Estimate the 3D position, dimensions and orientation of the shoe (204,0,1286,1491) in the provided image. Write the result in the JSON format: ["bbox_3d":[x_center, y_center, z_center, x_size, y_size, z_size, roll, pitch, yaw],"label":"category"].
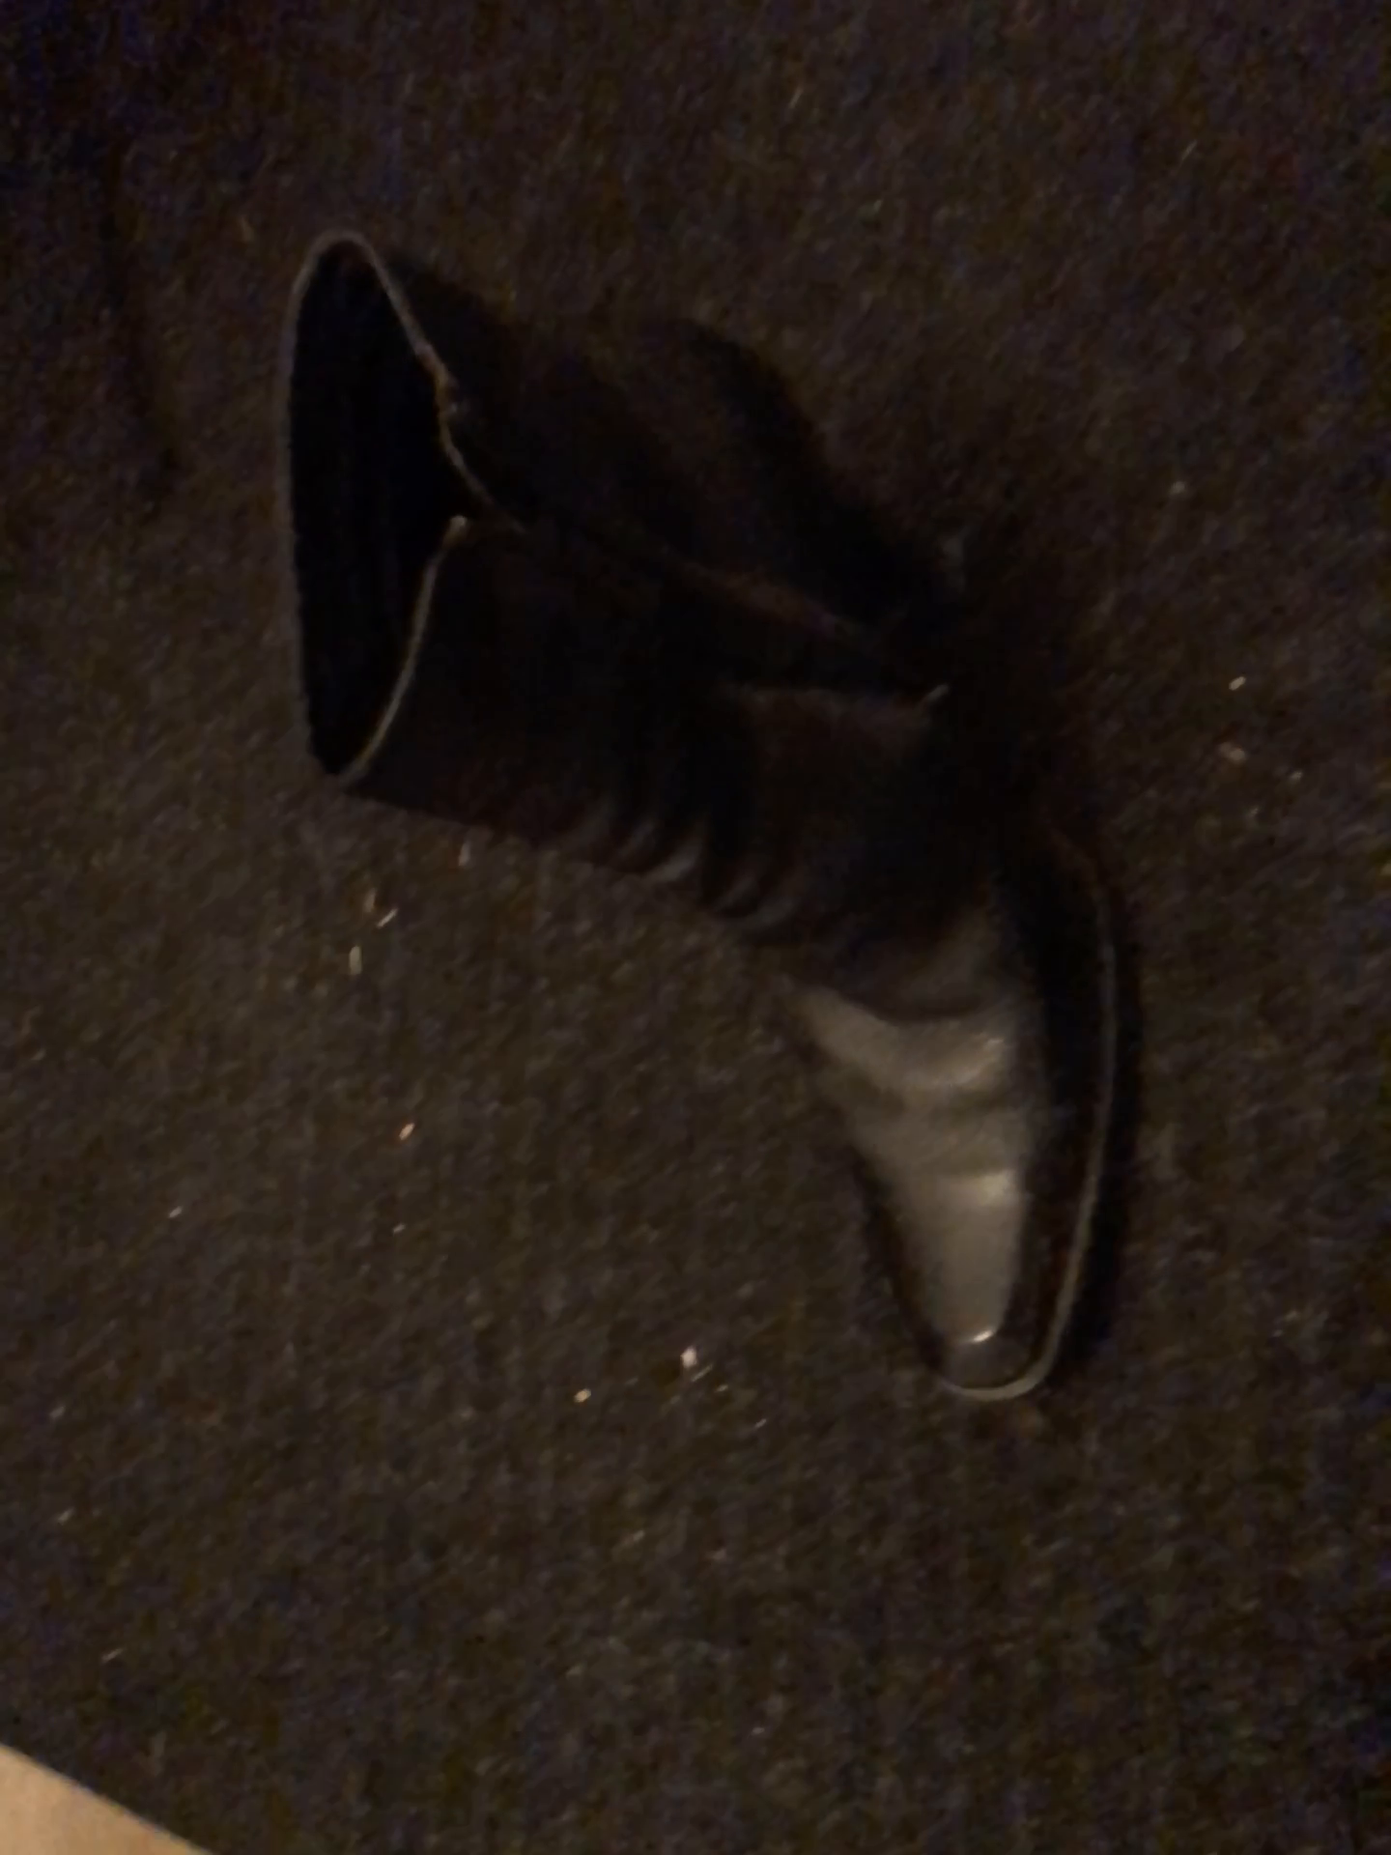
[{"bbox_3d":[0.019,-0.029,0.310,0.090,0.209,0.240,-16,72,33],"label":"shoe"}]
